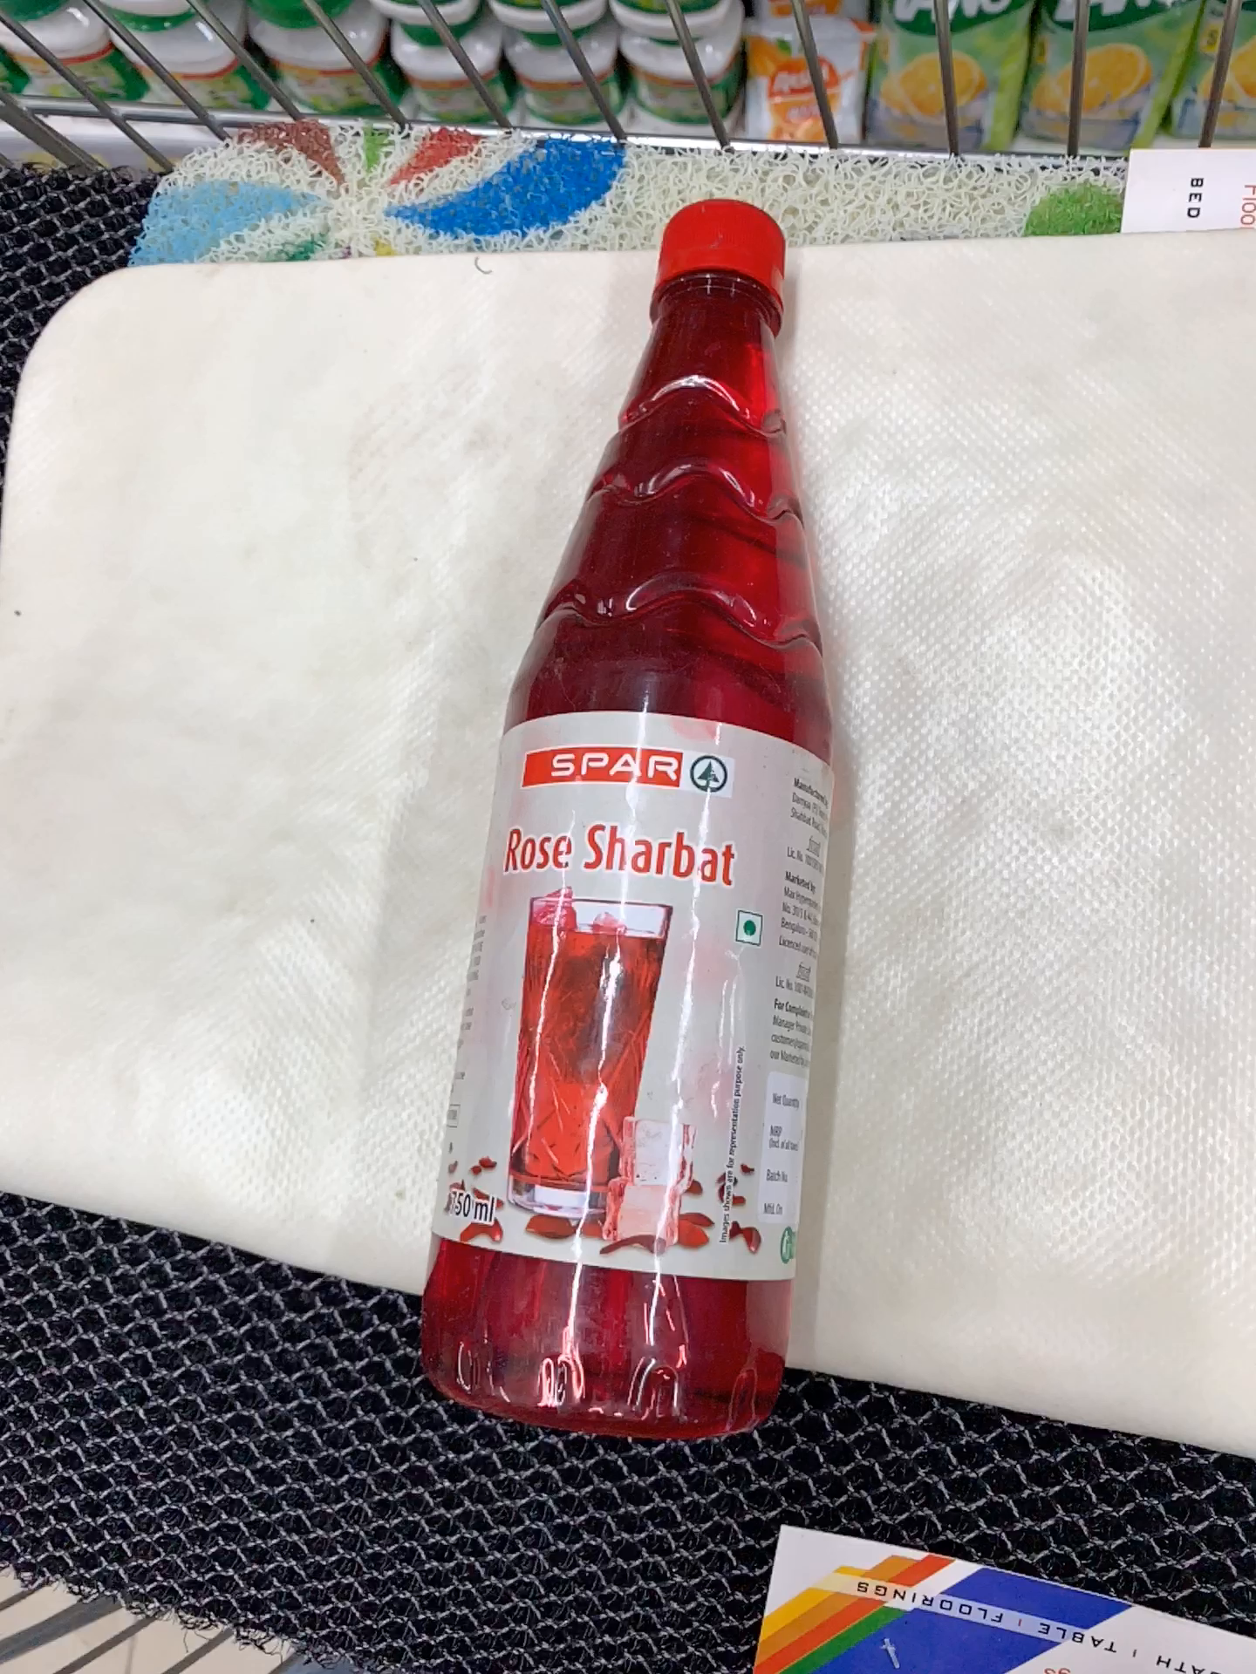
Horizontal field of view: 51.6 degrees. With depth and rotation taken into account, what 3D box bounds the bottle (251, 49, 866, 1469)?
[{"bbox_3d":[-0.002,-0.019,0.244,0.070,0.070,0.230,3,77,15],"label":"bottle"}]
